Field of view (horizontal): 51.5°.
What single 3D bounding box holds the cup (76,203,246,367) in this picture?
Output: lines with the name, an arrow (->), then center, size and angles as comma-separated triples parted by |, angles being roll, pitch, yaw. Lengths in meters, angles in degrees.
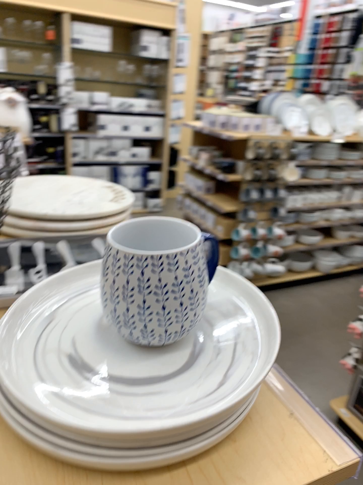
cup -> -0.021, 0.032, 0.384 | 0.128, 0.097, 0.104 | -18, 32, -39
